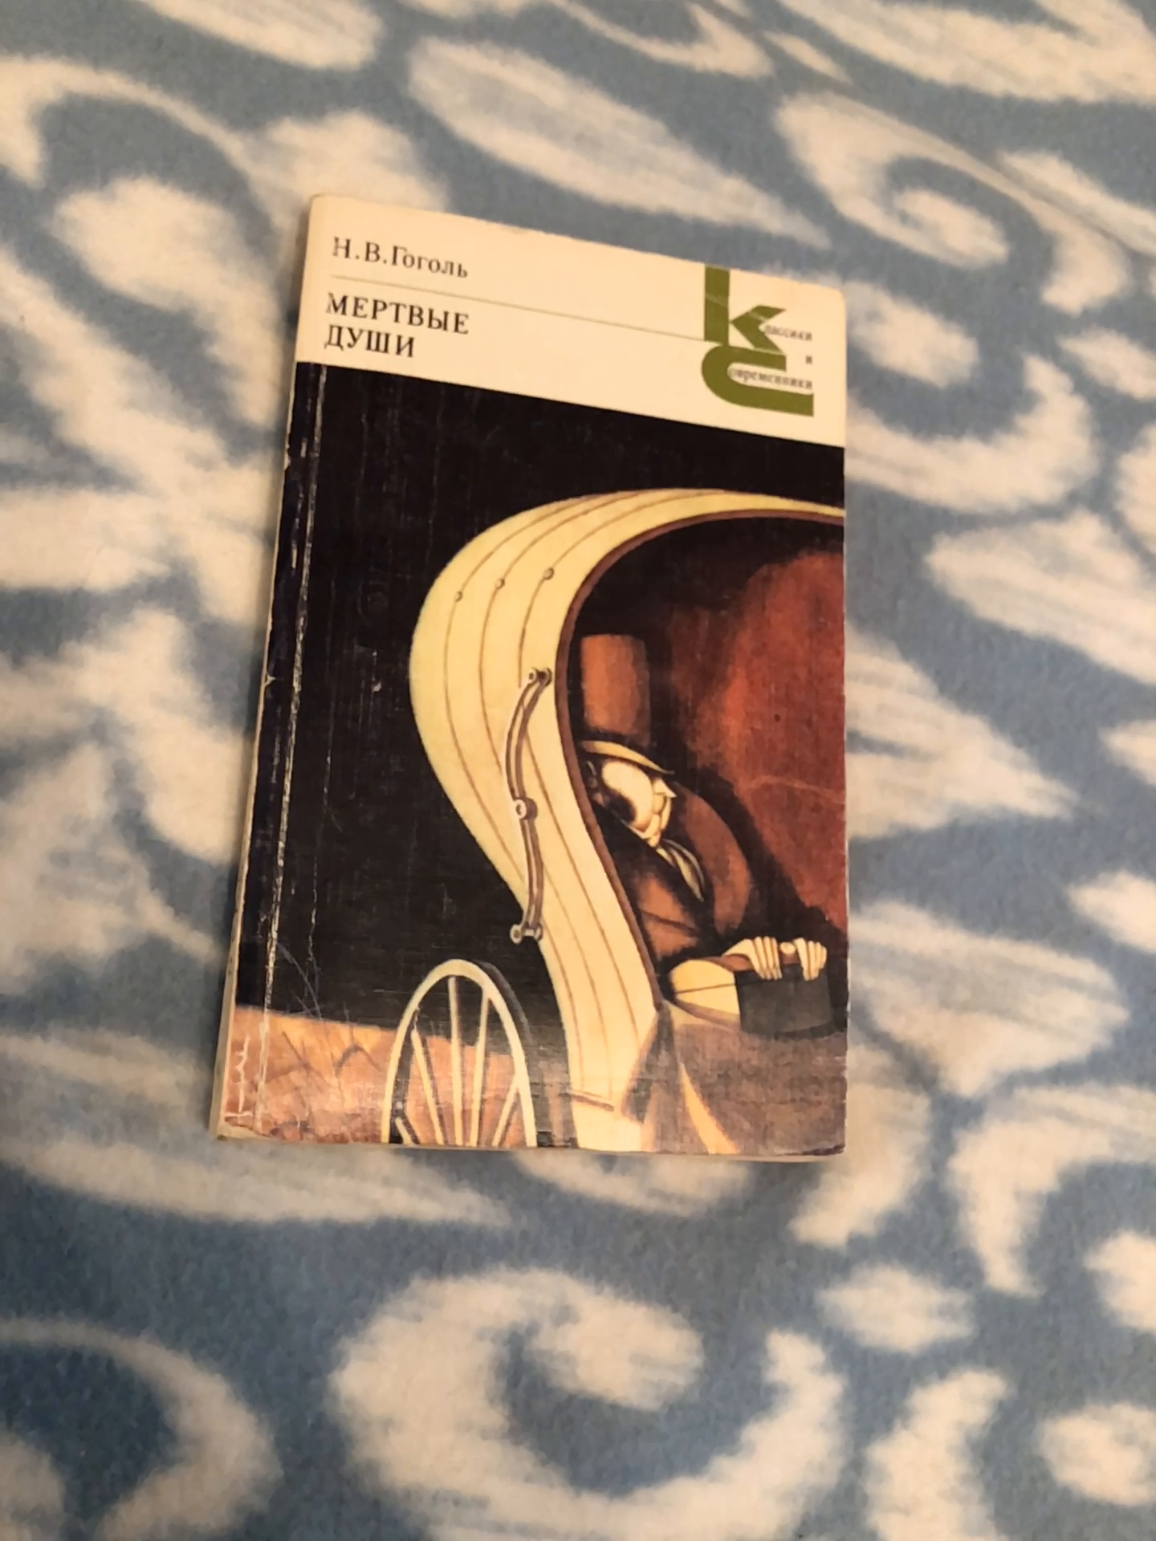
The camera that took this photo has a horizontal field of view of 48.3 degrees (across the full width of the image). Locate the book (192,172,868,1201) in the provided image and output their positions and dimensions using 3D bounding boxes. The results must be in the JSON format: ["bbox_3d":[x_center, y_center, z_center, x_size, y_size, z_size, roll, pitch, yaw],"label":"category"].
[{"bbox_3d":[-0.004,-0.017,0.268,0.126,0.025,0.199,6,76,-14],"label":"book"}]
